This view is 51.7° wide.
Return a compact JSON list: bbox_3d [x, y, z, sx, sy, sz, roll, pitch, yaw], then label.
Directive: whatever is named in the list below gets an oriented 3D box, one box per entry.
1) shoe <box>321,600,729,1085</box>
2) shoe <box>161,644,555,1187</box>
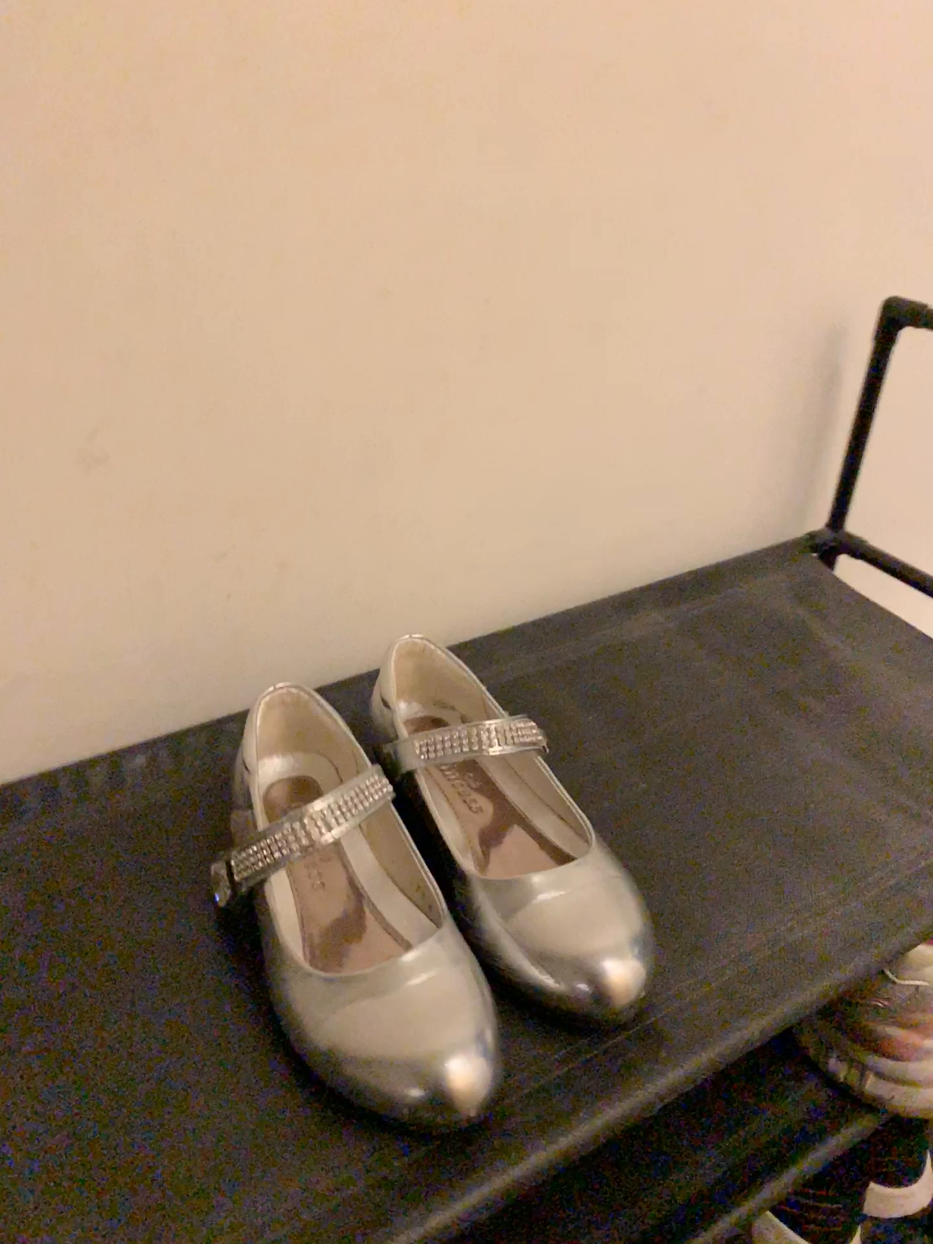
[{"bbox_3d":[0.016,0.082,0.426,0.090,0.089,0.181,-18,36,-21],"label":"shoe"},{"bbox_3d":[-0.050,0.104,0.396,0.090,0.089,0.181,-18,36,-21],"label":"shoe"}]
